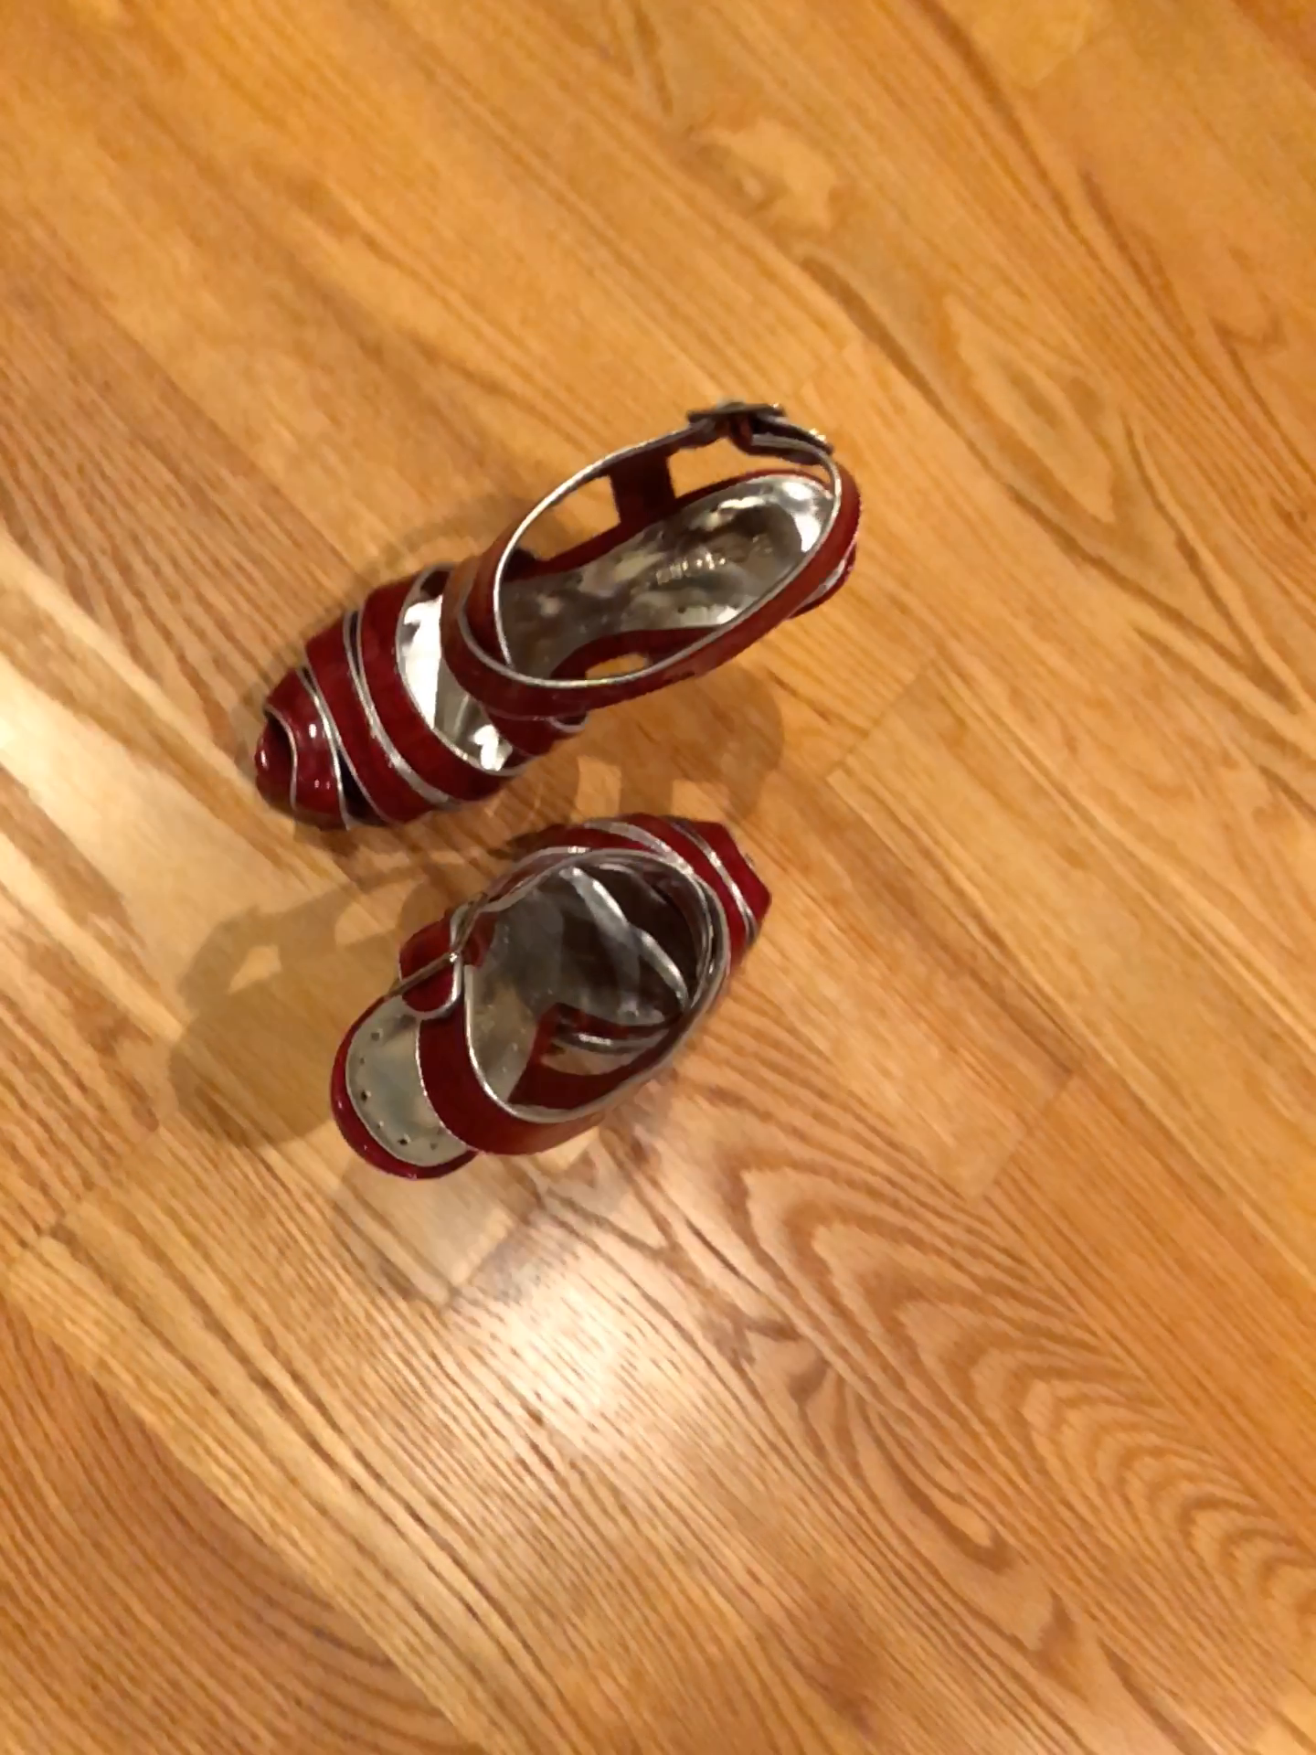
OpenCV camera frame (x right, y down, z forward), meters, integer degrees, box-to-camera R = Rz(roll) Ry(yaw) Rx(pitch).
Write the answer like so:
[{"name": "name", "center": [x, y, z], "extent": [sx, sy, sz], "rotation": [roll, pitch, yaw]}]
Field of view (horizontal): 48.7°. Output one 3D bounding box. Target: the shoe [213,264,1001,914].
[{"name": "shoe", "center": [-0.025, -0.087, 0.468], "extent": [0.199, 0.151, 0.091], "rotation": [-28, 88, -24]}]

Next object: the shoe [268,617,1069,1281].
[{"name": "shoe", "center": [-0.004, 0.025, 0.449], "extent": [0.194, 0.141, 0.091], "rotation": [-32, 90, -24]}]
